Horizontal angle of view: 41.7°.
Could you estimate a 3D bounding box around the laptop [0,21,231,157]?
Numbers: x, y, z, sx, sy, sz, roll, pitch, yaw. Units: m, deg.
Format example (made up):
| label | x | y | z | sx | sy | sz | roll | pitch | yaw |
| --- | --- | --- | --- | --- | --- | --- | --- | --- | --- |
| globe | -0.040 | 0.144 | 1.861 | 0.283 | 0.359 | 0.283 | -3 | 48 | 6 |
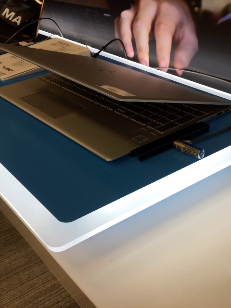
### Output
| label | x | y | z | sx | sy | sz | roll | pitch | yaw |
| --- | --- | --- | --- | --- | --- | --- | --- | --- | --- |
| laptop | -0.020 | -0.144 | 0.550 | 0.262 | 0.105 | 0.337 | -27 | 43 | -29 |
